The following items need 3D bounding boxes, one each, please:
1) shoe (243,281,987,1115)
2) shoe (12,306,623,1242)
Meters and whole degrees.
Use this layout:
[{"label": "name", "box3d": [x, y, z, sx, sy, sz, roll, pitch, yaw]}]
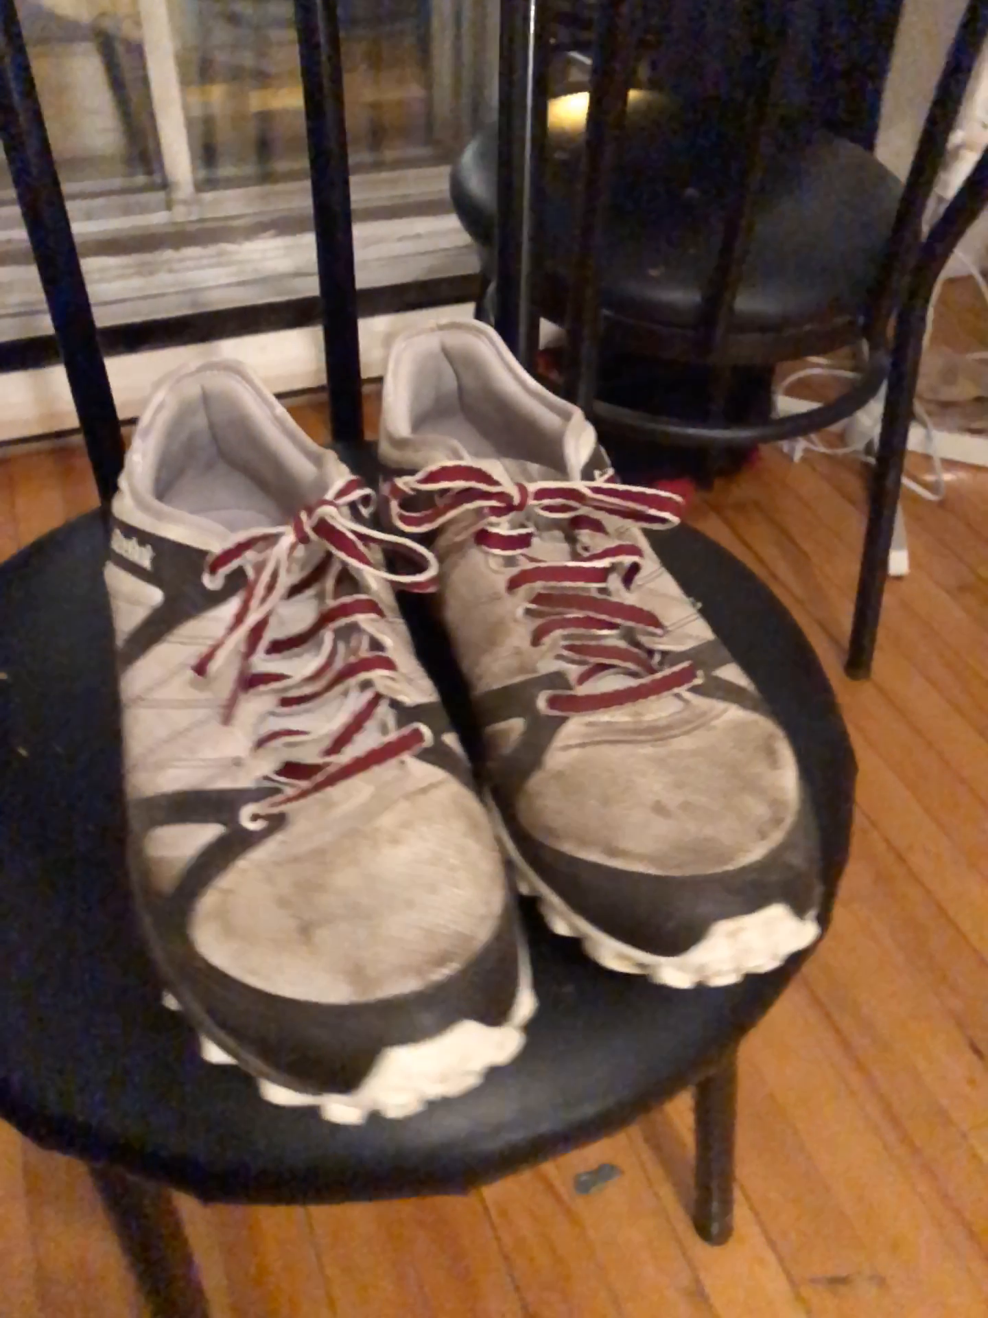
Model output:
[{"label": "shoe", "box3d": [0.010, -0.020, 0.403, 0.120, 0.099, 0.312, -15, 46, -18]}, {"label": "shoe", "box3d": [-0.080, 0.002, 0.367, 0.100, 0.099, 0.312, -15, 46, -18]}]
